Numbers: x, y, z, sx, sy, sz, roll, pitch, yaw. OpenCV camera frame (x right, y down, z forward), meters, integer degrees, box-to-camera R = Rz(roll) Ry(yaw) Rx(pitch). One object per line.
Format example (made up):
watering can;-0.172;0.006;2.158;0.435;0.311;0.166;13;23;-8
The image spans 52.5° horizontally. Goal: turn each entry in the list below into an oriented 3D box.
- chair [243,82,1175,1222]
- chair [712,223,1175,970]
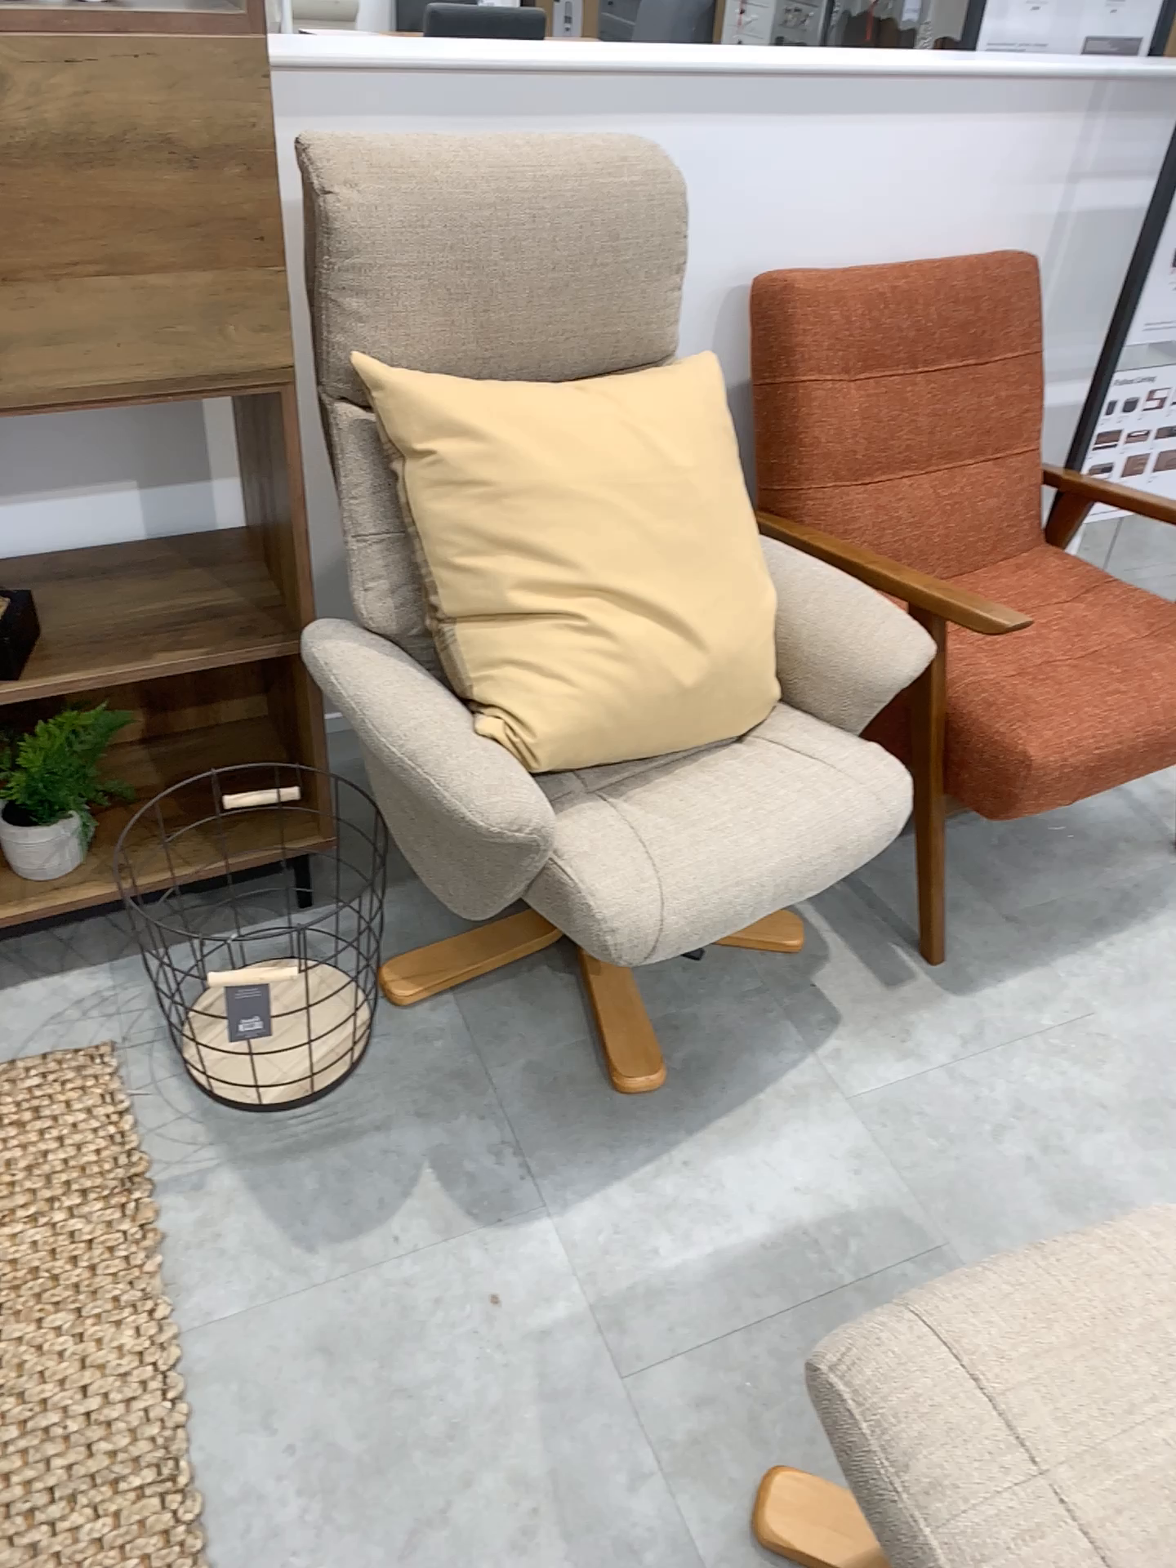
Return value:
chair;0.076;-0.196;1.496;0.763;1.047;0.662;-17;42;-34
chair;0.625;-0.329;1.883;0.552;0.919;0.622;-16;35;-24
